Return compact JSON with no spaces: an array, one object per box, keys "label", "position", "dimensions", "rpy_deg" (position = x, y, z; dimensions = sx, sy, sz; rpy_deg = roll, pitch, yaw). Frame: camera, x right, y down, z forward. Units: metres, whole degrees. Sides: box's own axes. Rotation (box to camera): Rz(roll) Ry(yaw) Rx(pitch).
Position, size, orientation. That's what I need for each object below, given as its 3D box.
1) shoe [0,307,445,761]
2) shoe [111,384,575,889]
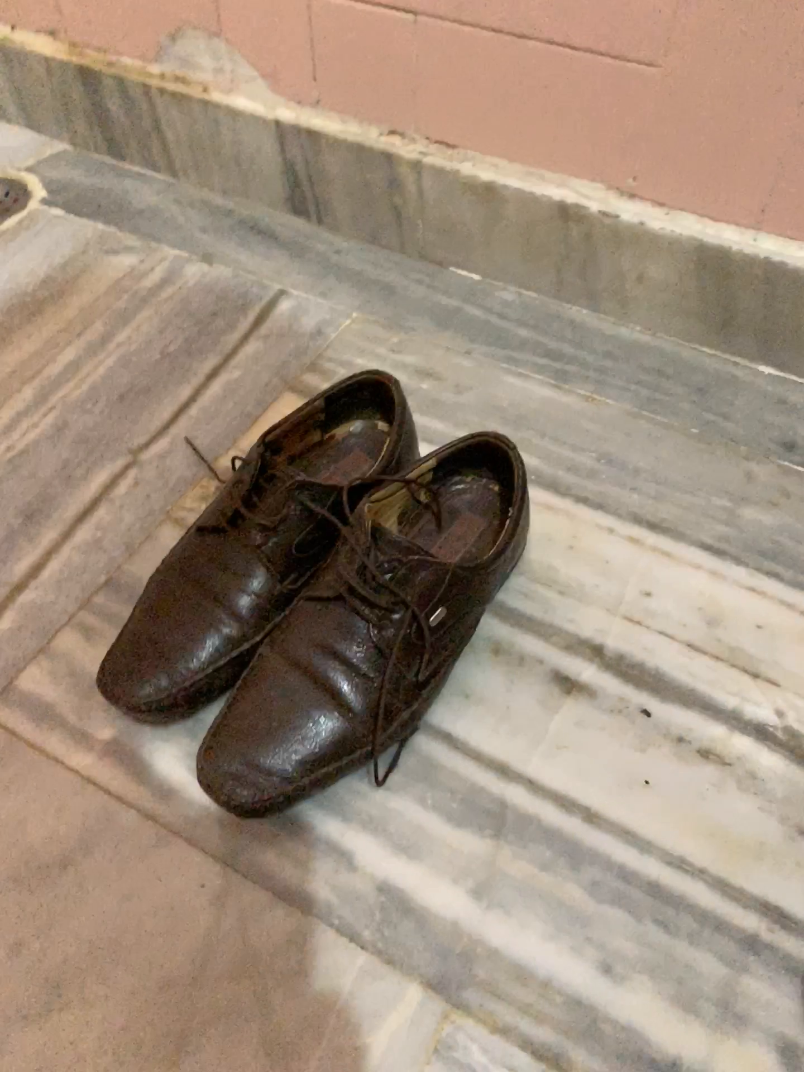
[{"label":"shoe","position":[-0.096,-0.013,0.538],"dimensions":[0.100,0.110,0.282],"rpy_deg":[30,59,21]},{"label":"shoe","position":[-0.019,0.048,0.501],"dimensions":[0.100,0.110,0.282],"rpy_deg":[30,59,21]}]
